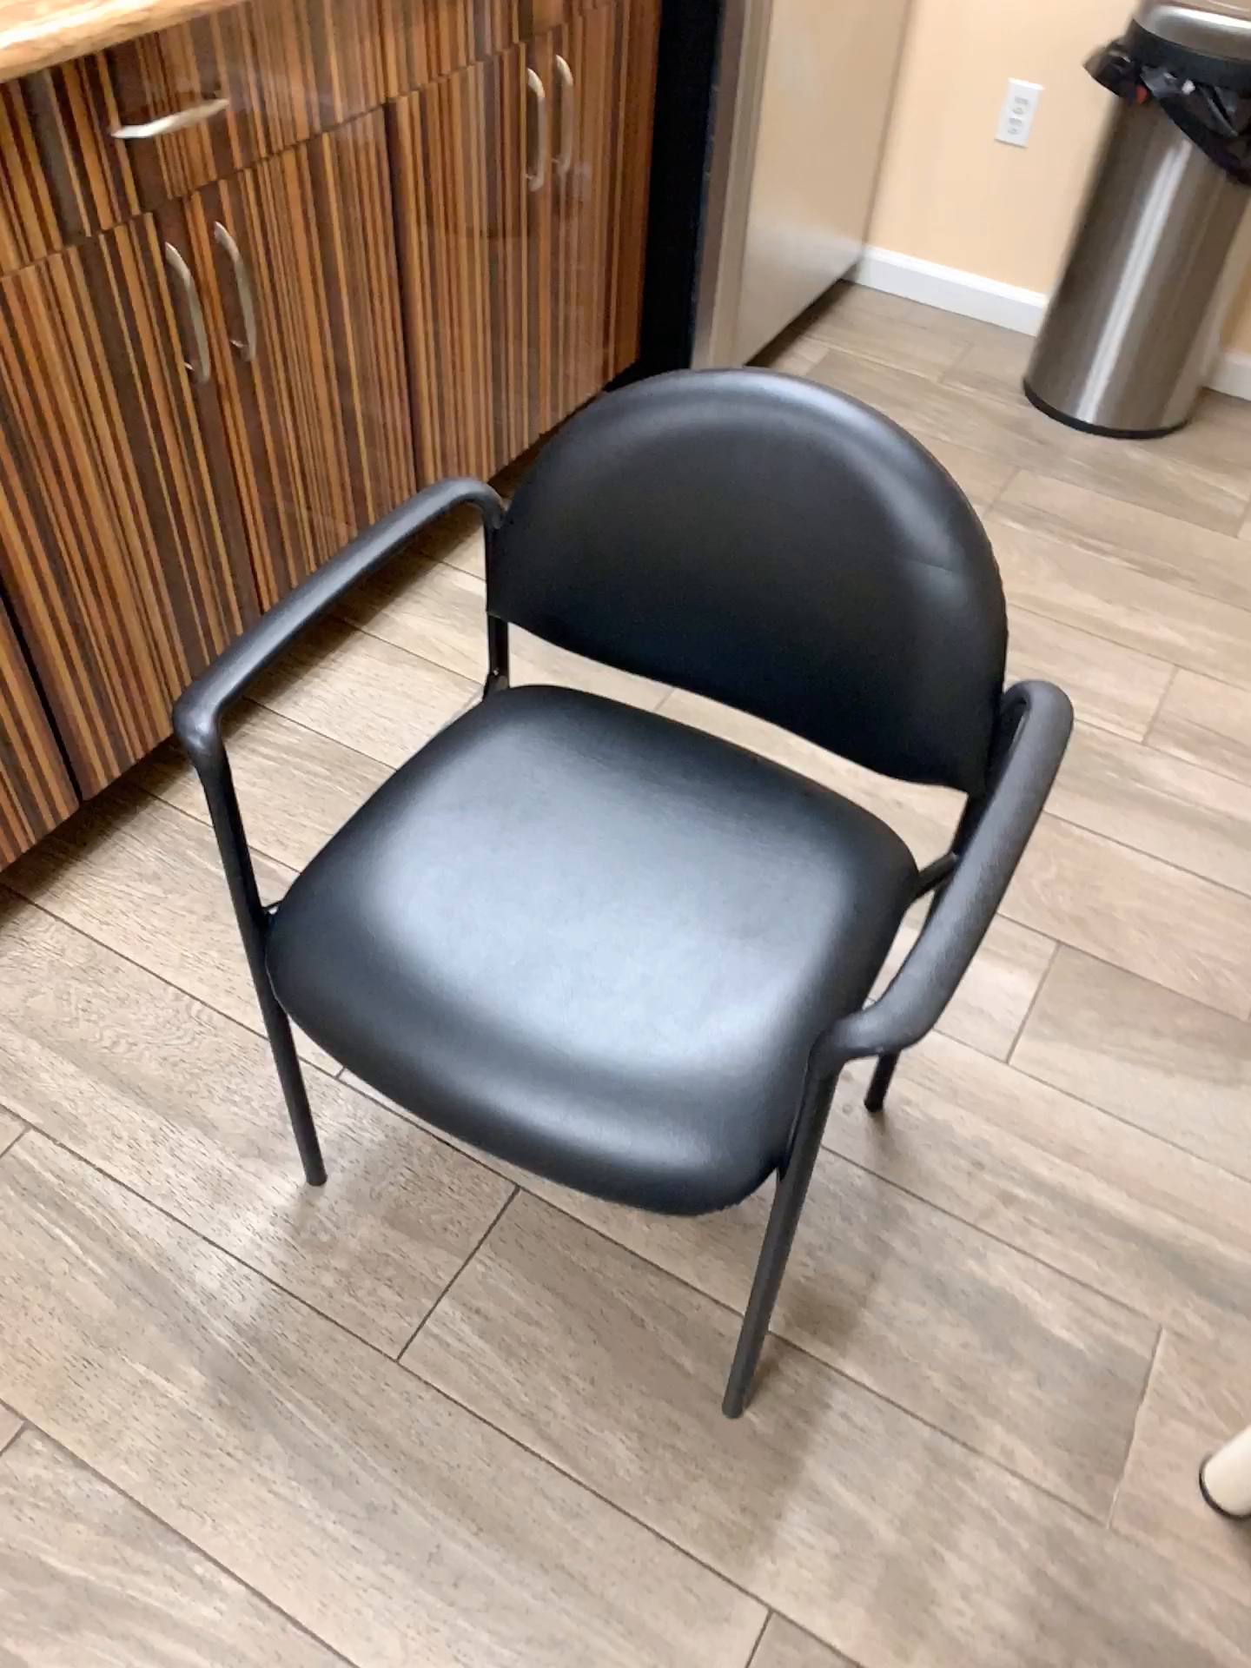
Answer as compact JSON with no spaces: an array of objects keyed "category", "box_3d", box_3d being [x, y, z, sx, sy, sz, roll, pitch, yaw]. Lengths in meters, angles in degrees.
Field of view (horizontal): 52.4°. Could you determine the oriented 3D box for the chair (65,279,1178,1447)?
[{"category":"chair","box_3d":[0.012,0.040,1.140,0.590,0.736,0.522,23,50,15]}]
